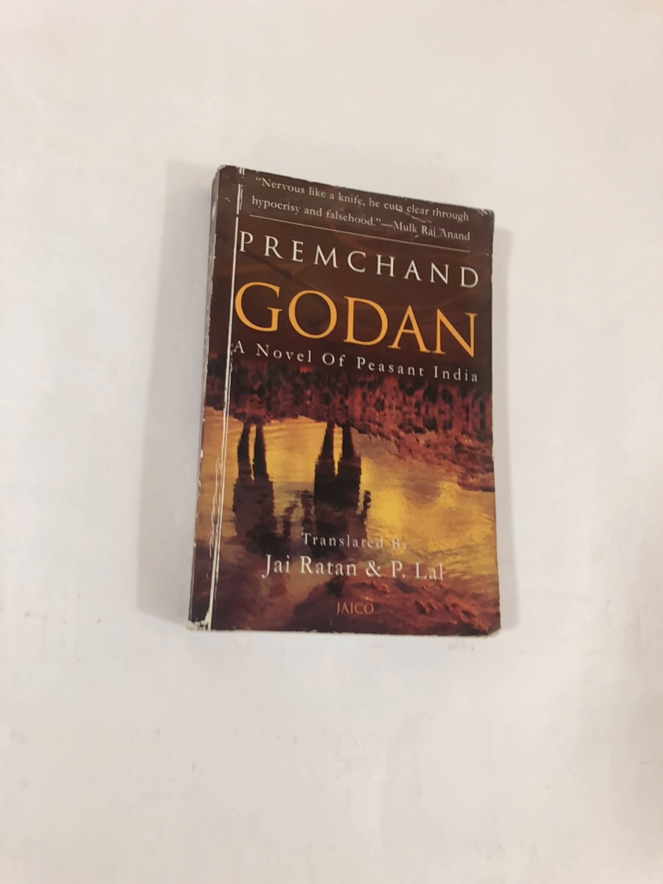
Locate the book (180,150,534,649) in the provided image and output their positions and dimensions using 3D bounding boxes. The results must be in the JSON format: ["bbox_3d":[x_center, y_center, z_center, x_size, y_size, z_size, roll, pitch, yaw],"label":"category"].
[{"bbox_3d":[0.018,-0.017,0.341,0.150,0.030,0.210,7,76,-15],"label":"book"}]
